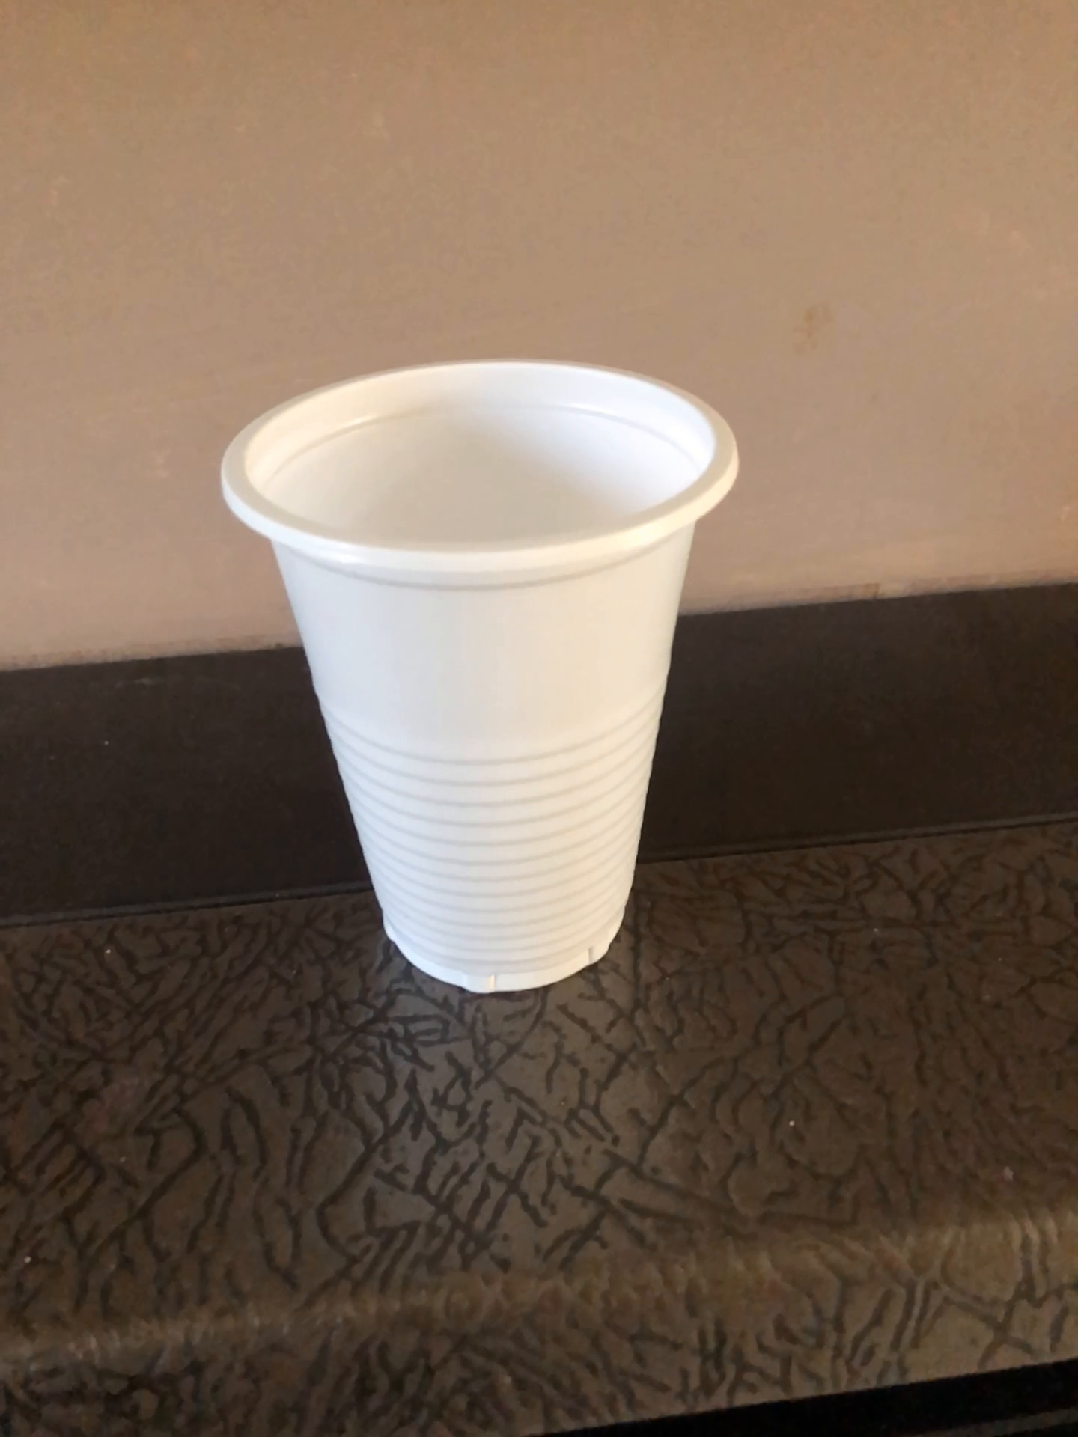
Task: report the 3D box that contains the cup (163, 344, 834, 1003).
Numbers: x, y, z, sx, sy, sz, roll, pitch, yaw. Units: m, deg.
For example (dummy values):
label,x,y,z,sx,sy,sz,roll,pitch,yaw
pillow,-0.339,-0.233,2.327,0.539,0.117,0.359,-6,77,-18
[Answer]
label,x,y,z,sx,sy,sz,roll,pitch,yaw
cup,-0.005,-0.010,0.193,0.079,0.073,0.073,-2,35,1
